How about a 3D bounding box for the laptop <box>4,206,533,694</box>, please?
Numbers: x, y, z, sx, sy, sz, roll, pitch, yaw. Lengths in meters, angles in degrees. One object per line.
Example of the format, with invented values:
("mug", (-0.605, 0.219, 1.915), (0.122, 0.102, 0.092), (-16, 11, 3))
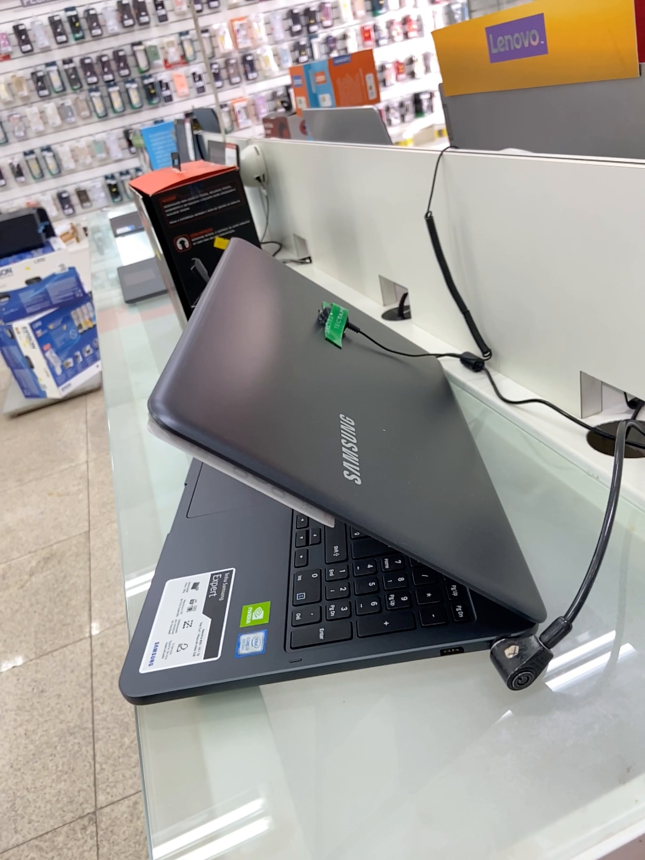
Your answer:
("laptop", (-0.021, -0.025, 0.490), (0.231, 0.158, 0.359), (-12, 28, 6))
